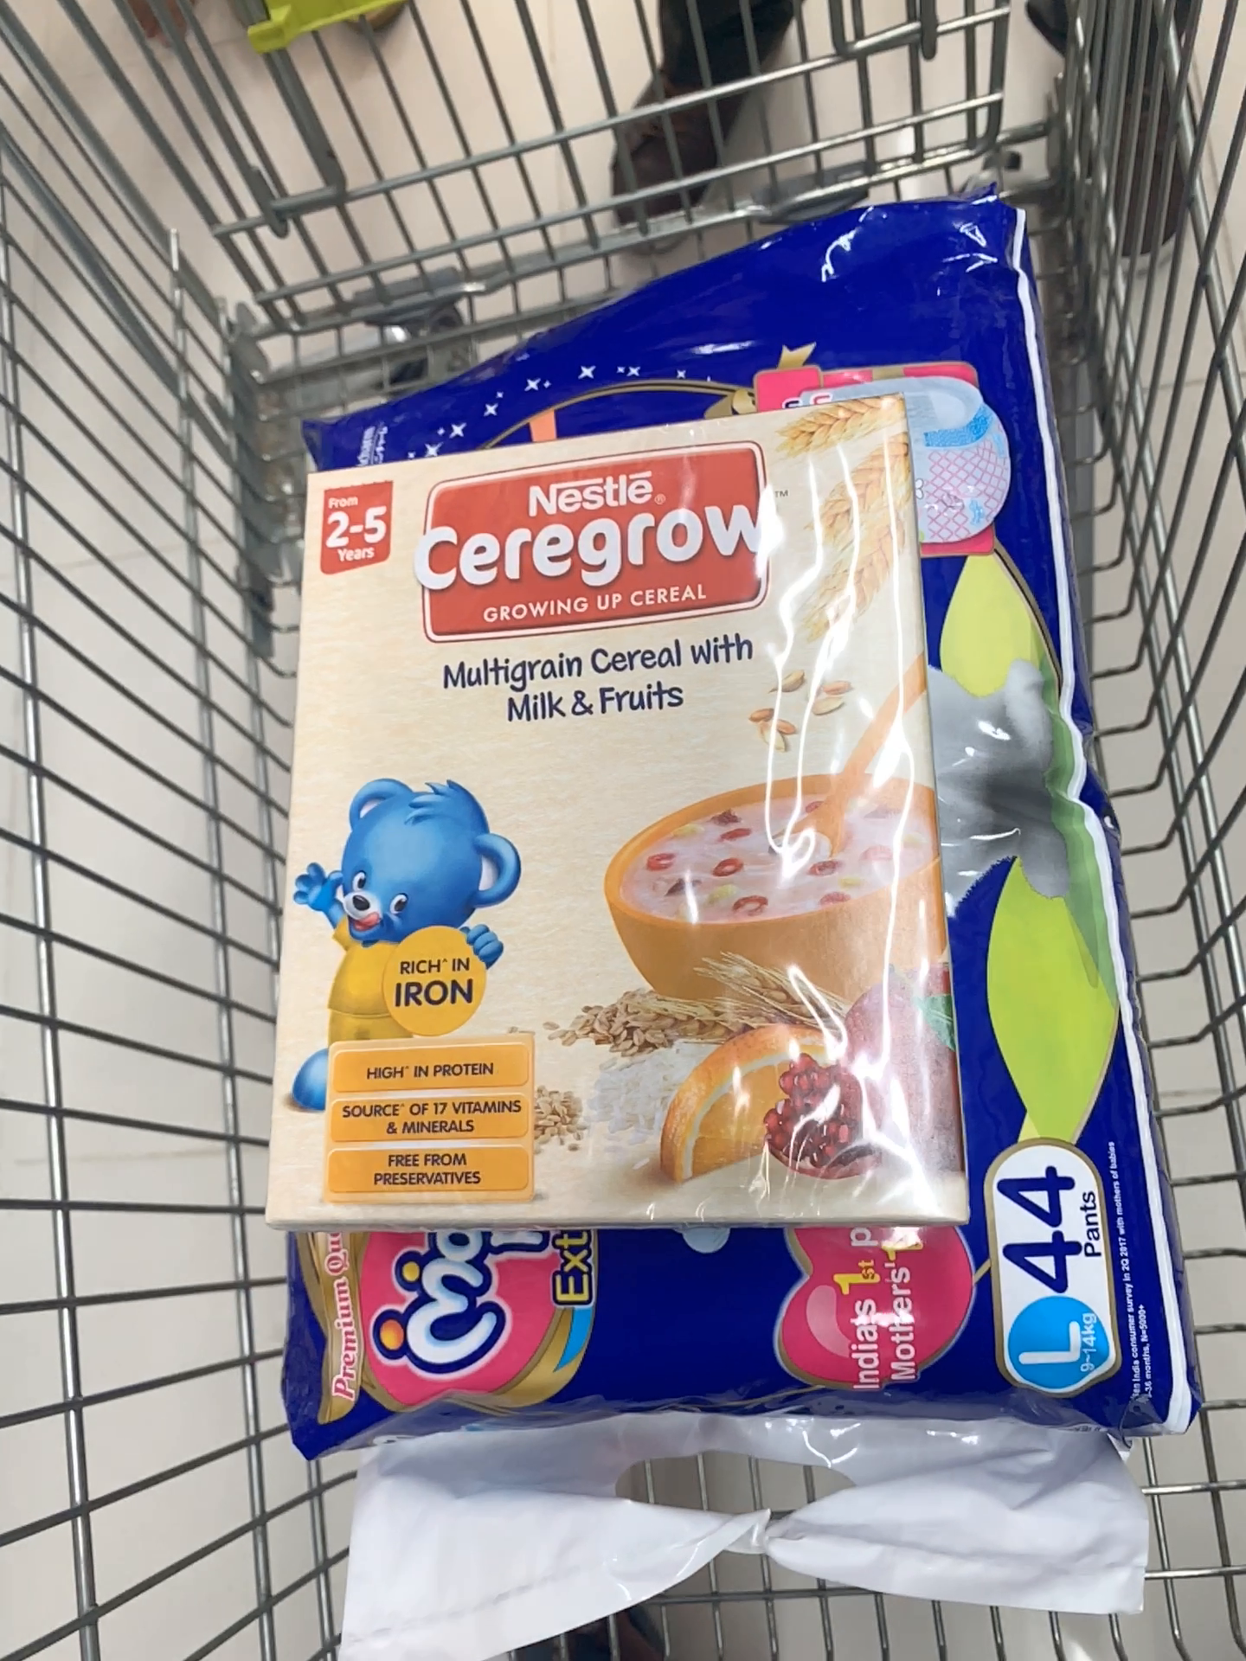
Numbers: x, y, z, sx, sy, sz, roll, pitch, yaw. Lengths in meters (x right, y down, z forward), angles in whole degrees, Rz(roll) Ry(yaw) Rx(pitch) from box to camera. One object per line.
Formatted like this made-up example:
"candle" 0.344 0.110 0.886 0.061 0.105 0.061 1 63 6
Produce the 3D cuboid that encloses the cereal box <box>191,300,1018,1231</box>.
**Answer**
"cereal box" -0.005 -0.010 0.291 0.160 0.050 0.190 -4 74 12
